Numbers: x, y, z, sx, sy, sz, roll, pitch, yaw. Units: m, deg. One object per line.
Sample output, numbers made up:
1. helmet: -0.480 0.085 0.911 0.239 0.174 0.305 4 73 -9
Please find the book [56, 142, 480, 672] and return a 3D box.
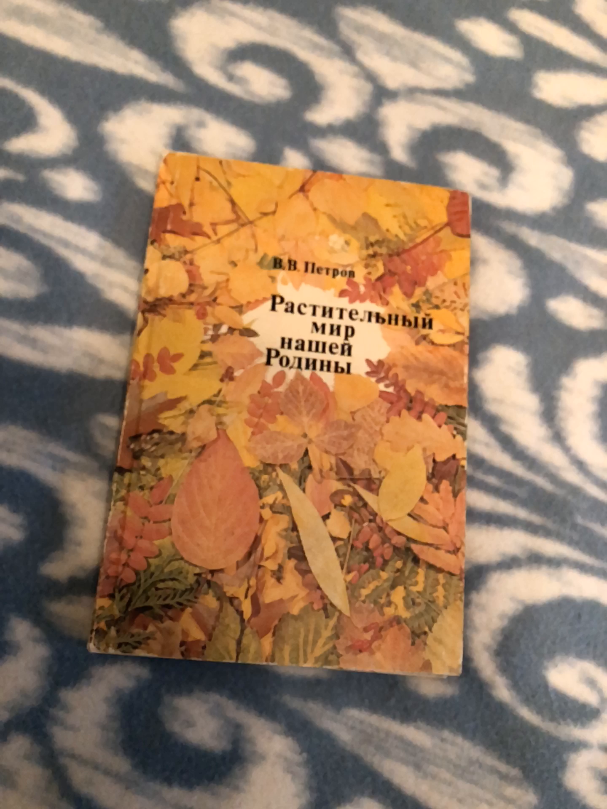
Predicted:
1. book: -0.005 -0.003 0.289 0.157 0.020 0.208 6 76 -7
